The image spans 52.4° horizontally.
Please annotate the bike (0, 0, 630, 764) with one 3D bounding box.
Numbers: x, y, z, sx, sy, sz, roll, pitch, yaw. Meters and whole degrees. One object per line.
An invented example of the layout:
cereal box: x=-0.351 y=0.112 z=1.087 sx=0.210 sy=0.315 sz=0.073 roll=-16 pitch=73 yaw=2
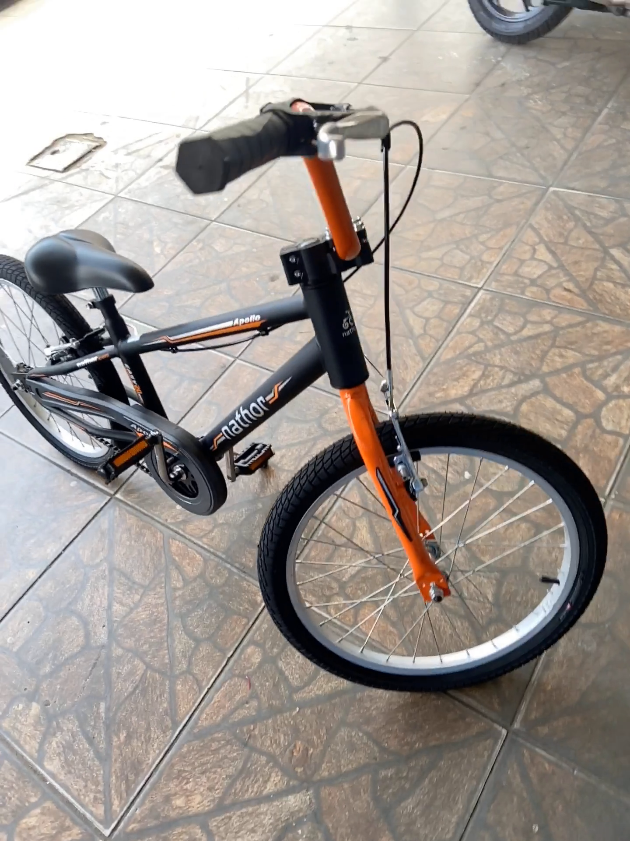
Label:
bike: x=-0.189 y=-0.187 z=1.078 sx=1.351 sy=0.979 sz=0.726 roll=17 pitch=57 yaw=23
